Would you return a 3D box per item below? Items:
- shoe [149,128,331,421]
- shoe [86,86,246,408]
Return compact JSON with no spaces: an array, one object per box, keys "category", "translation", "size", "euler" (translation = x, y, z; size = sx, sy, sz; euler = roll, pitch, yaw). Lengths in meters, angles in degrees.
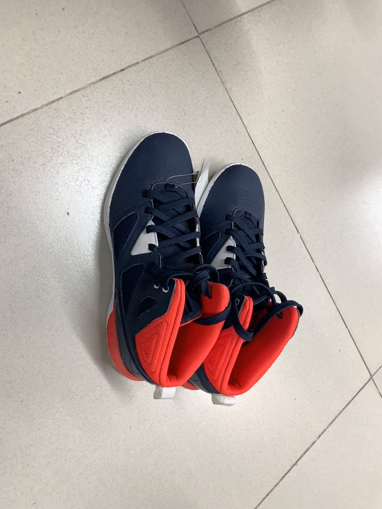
[{"category":"shoe","translation":[0.055,0.024,0.465],"size":[0.110,0.120,0.290],"euler":[16,83,-24]},{"category":"shoe","translation":[-0.030,-0.003,0.418],"size":[0.110,0.100,0.290],"euler":[8,87,-24]}]
